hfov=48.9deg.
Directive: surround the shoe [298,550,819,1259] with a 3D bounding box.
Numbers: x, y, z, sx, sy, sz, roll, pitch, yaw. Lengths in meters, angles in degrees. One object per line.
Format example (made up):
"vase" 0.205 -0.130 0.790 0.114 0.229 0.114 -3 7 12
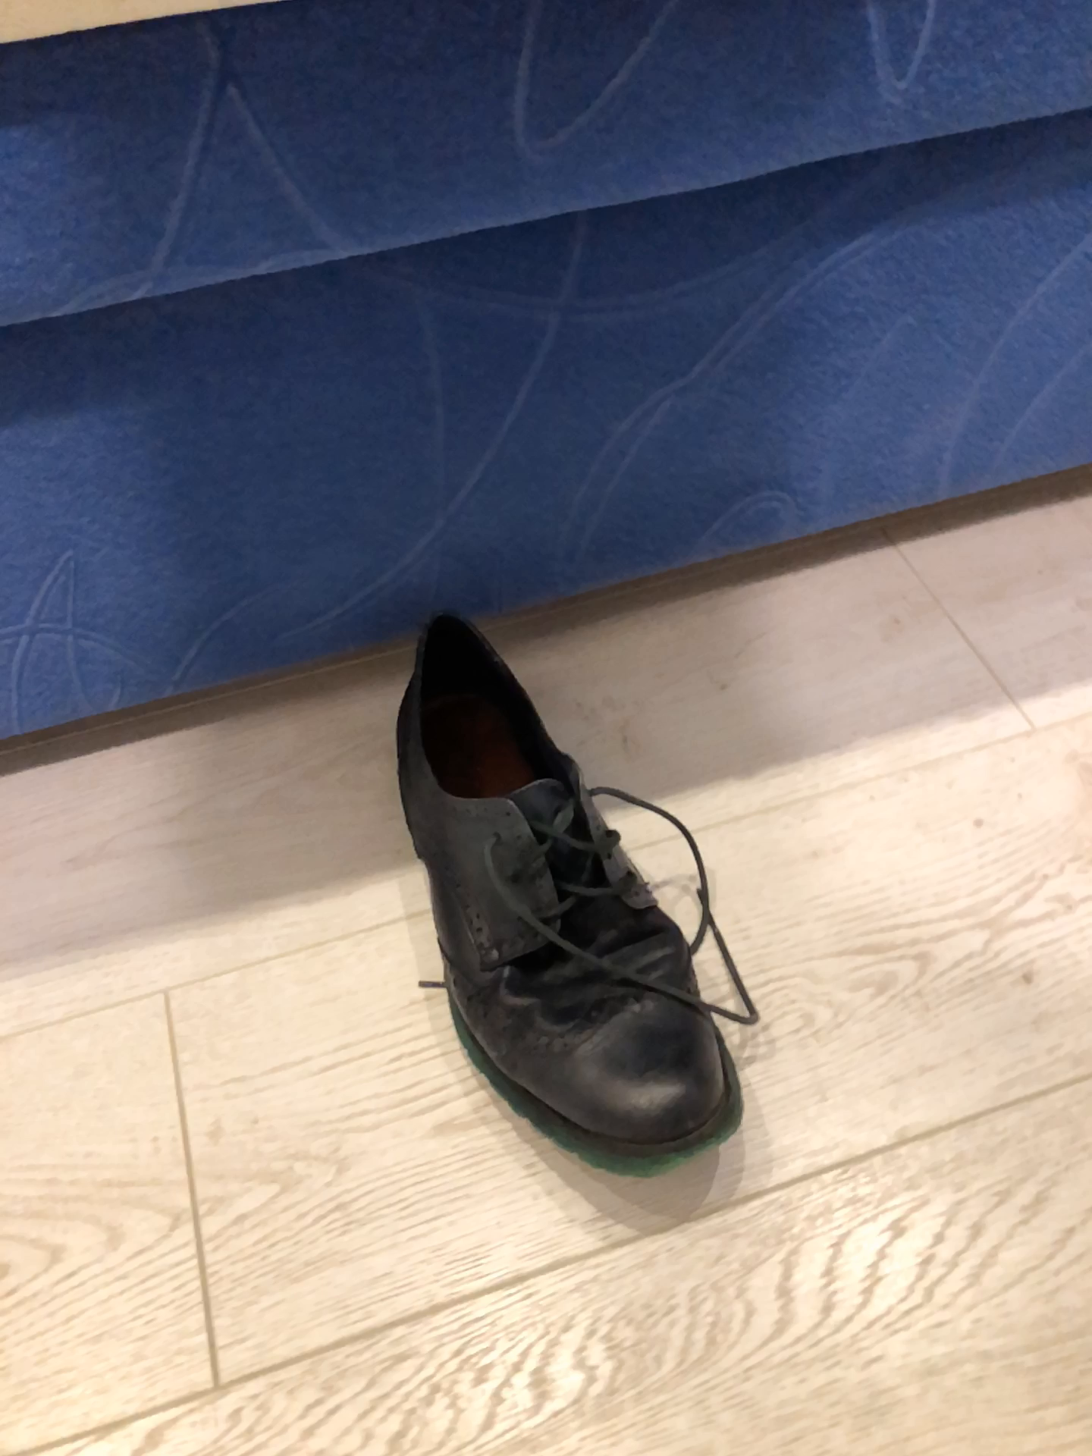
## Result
"shoe" -0.007 0.054 0.472 0.095 0.089 0.251 -20 52 -13
